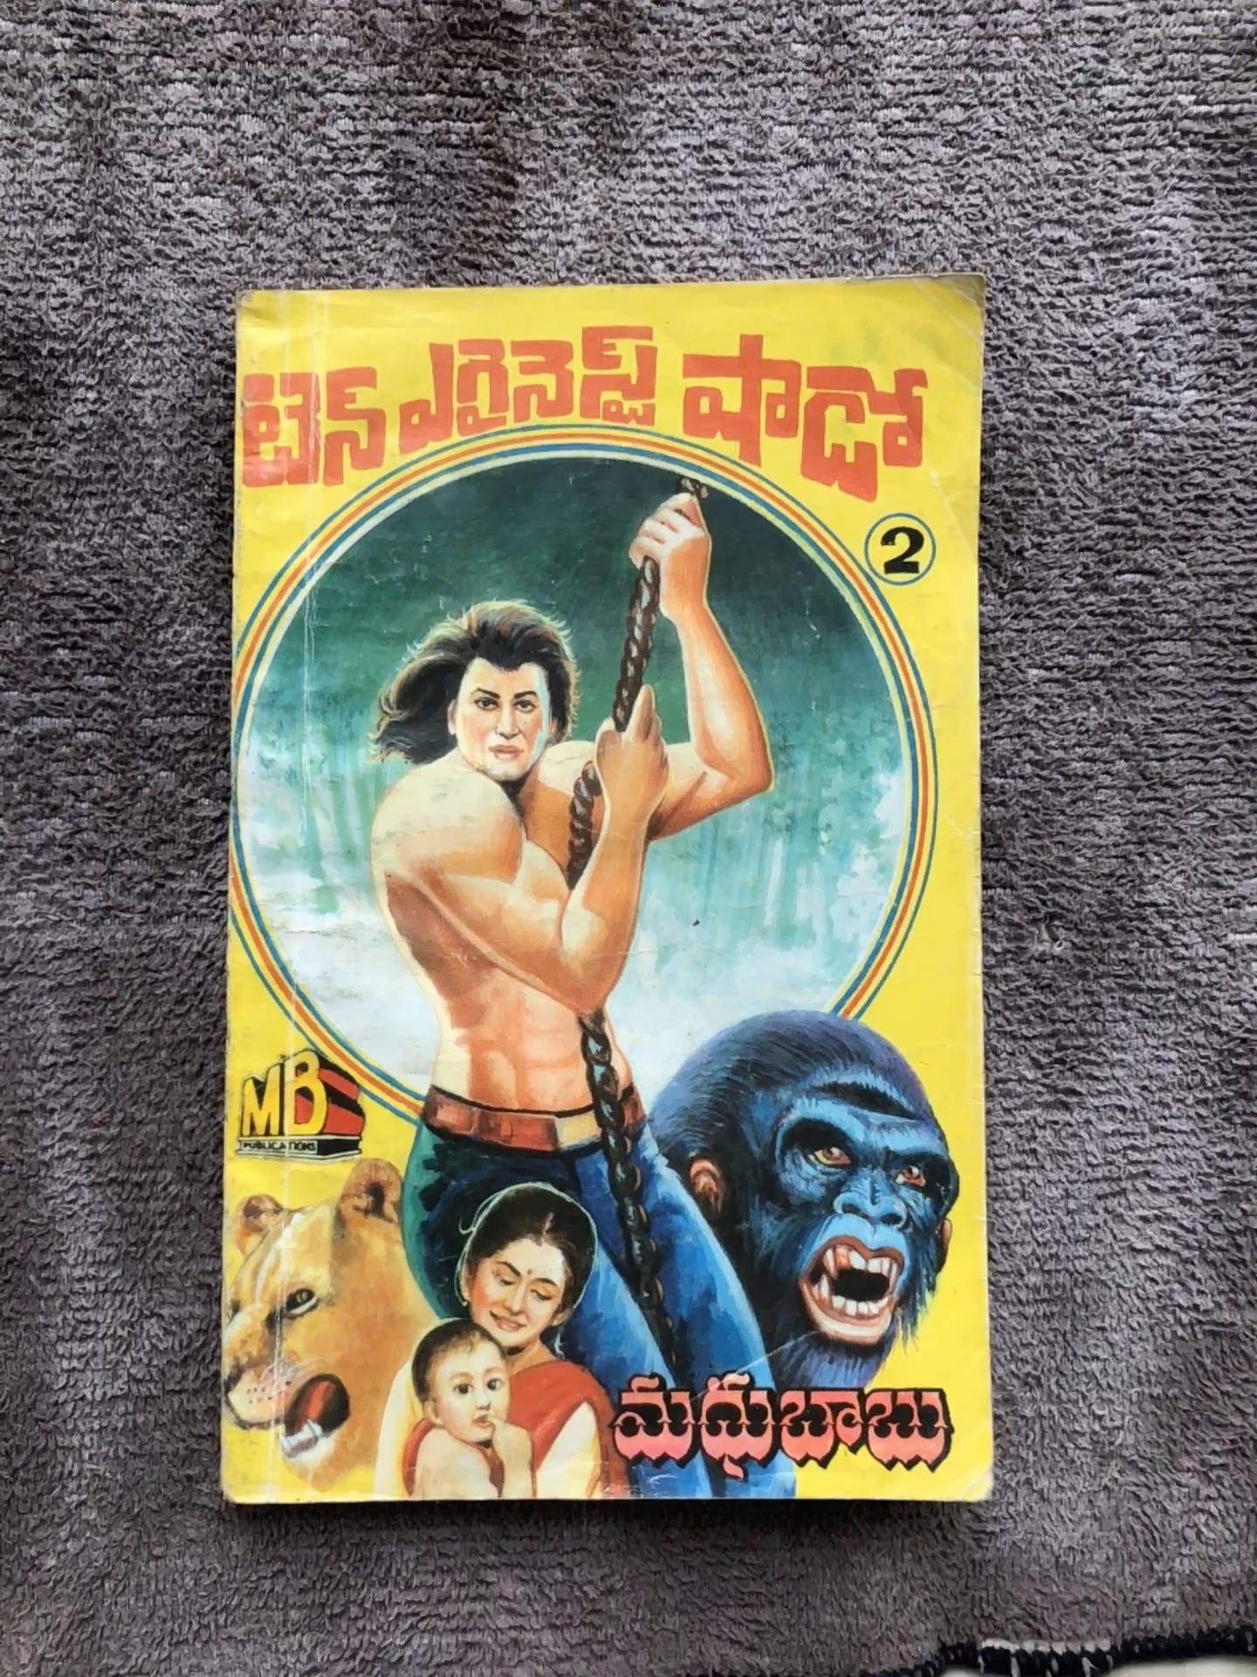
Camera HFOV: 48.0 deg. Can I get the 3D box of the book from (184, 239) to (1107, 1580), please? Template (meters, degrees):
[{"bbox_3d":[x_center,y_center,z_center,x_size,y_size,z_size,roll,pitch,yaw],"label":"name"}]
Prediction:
[{"bbox_3d":[0.002,0.006,0.182,0.110,0.020,0.160,0,87,-4],"label":"book"}]
